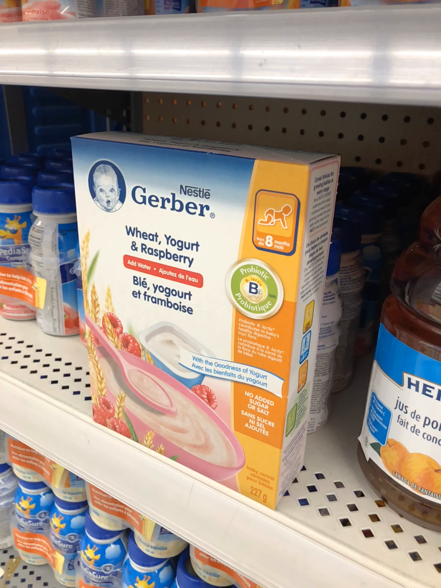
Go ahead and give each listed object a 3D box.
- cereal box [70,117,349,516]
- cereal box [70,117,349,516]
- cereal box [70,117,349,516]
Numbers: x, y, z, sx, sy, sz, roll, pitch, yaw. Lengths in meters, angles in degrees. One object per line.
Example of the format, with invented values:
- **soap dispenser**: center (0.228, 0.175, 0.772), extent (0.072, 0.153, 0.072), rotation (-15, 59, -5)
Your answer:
- **cereal box**: center (-0.016, 0.006, 0.289), extent (0.140, 0.199, 0.050), rotation (16, 25, 28)
- **cereal box**: center (-0.016, 0.006, 0.289), extent (0.140, 0.199, 0.050), rotation (16, 25, 28)
- **cereal box**: center (-0.016, 0.006, 0.289), extent (0.140, 0.199, 0.050), rotation (16, 25, 28)
